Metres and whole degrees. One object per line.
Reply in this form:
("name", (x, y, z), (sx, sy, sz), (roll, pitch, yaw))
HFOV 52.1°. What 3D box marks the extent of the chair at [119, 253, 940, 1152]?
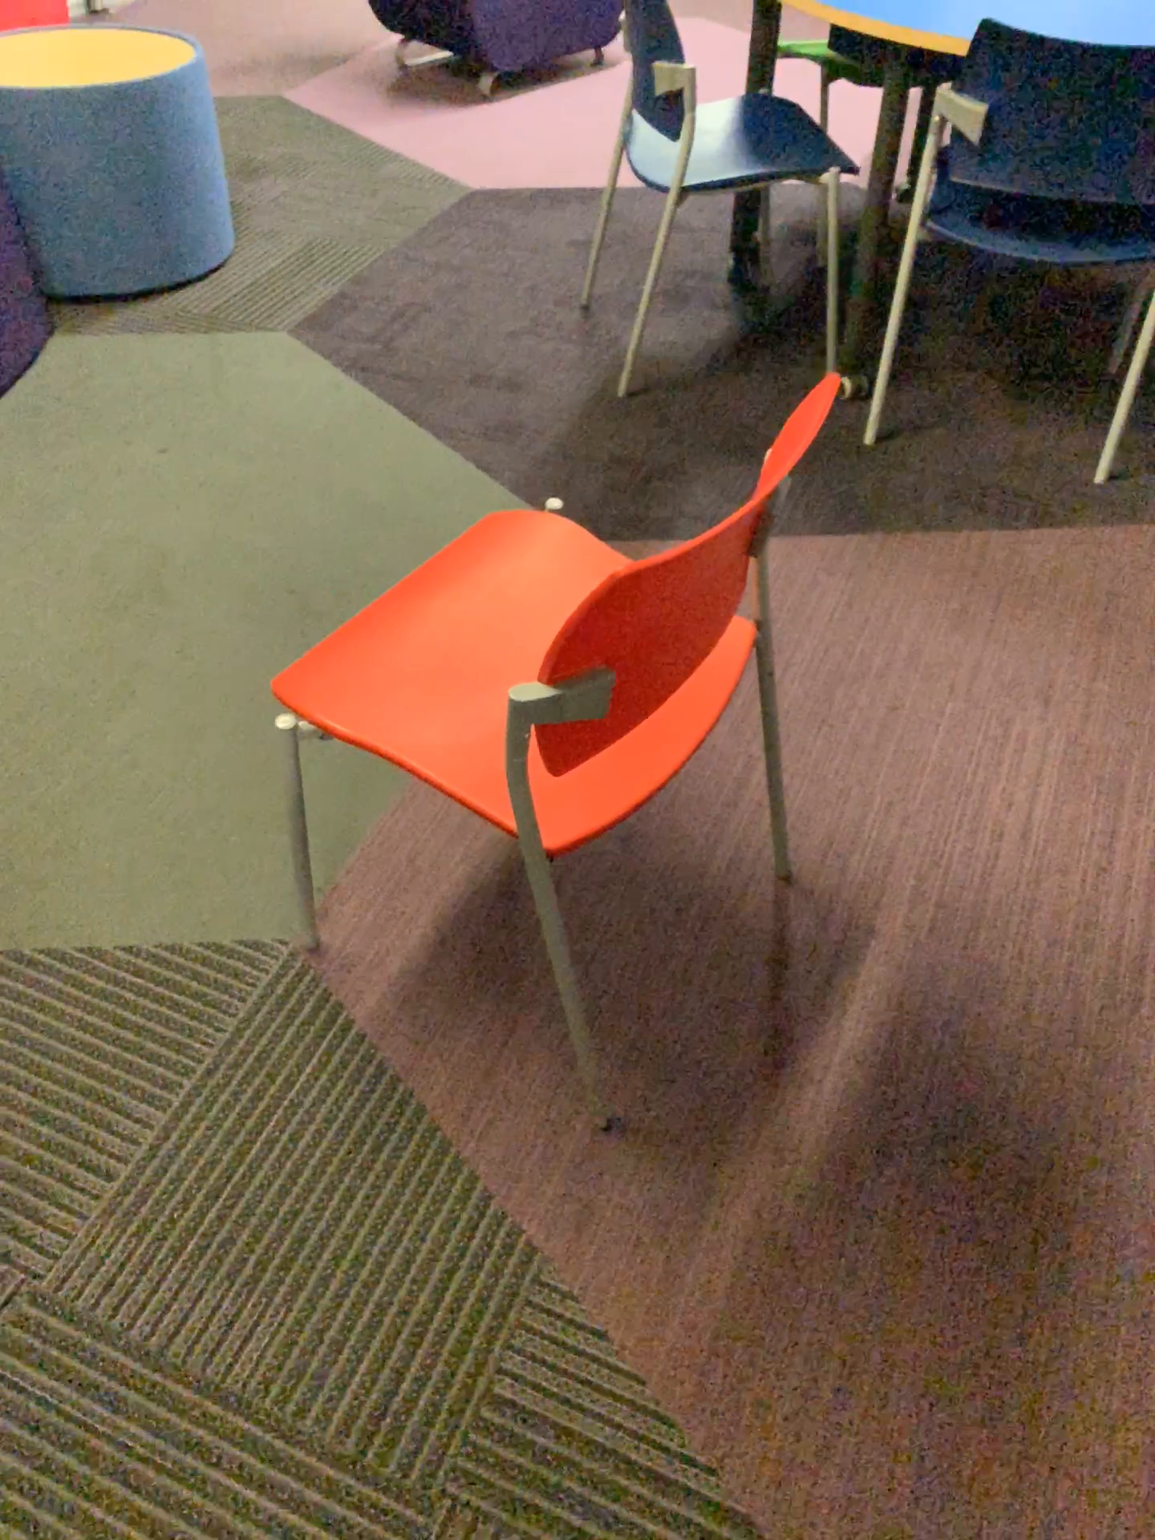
("chair", (-0.044, -0.095, 1.355), (0.562, 0.684, 0.543), (30, 50, 26))
